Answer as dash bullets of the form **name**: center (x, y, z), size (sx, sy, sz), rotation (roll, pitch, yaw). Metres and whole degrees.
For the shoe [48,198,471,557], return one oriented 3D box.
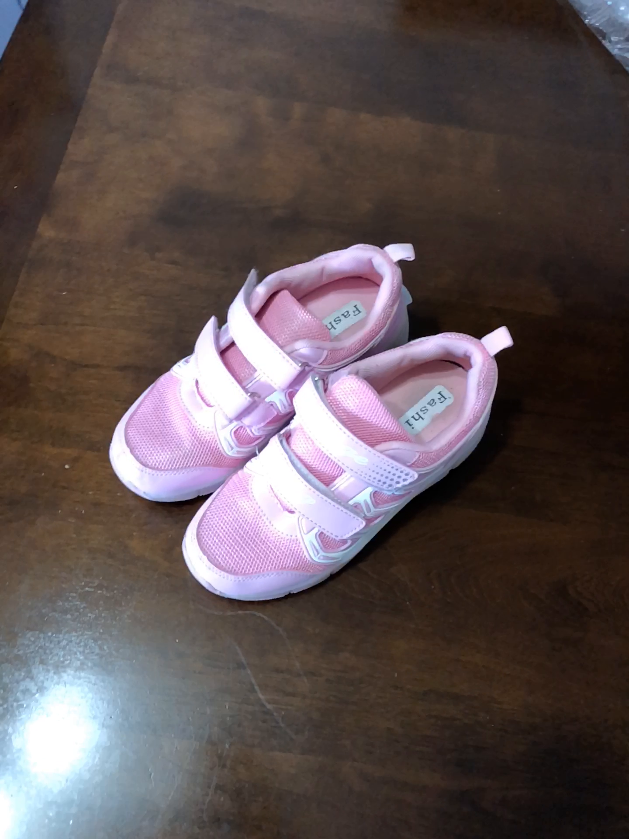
- **shoe**: center (-0.031, -0.030, 0.483), size (0.250, 0.110, 0.100), rotation (-33, 72, -18)

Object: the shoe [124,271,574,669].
- **shoe**: center (0.024, 0.032, 0.466), size (0.260, 0.110, 0.110), rotation (-34, 73, -19)
